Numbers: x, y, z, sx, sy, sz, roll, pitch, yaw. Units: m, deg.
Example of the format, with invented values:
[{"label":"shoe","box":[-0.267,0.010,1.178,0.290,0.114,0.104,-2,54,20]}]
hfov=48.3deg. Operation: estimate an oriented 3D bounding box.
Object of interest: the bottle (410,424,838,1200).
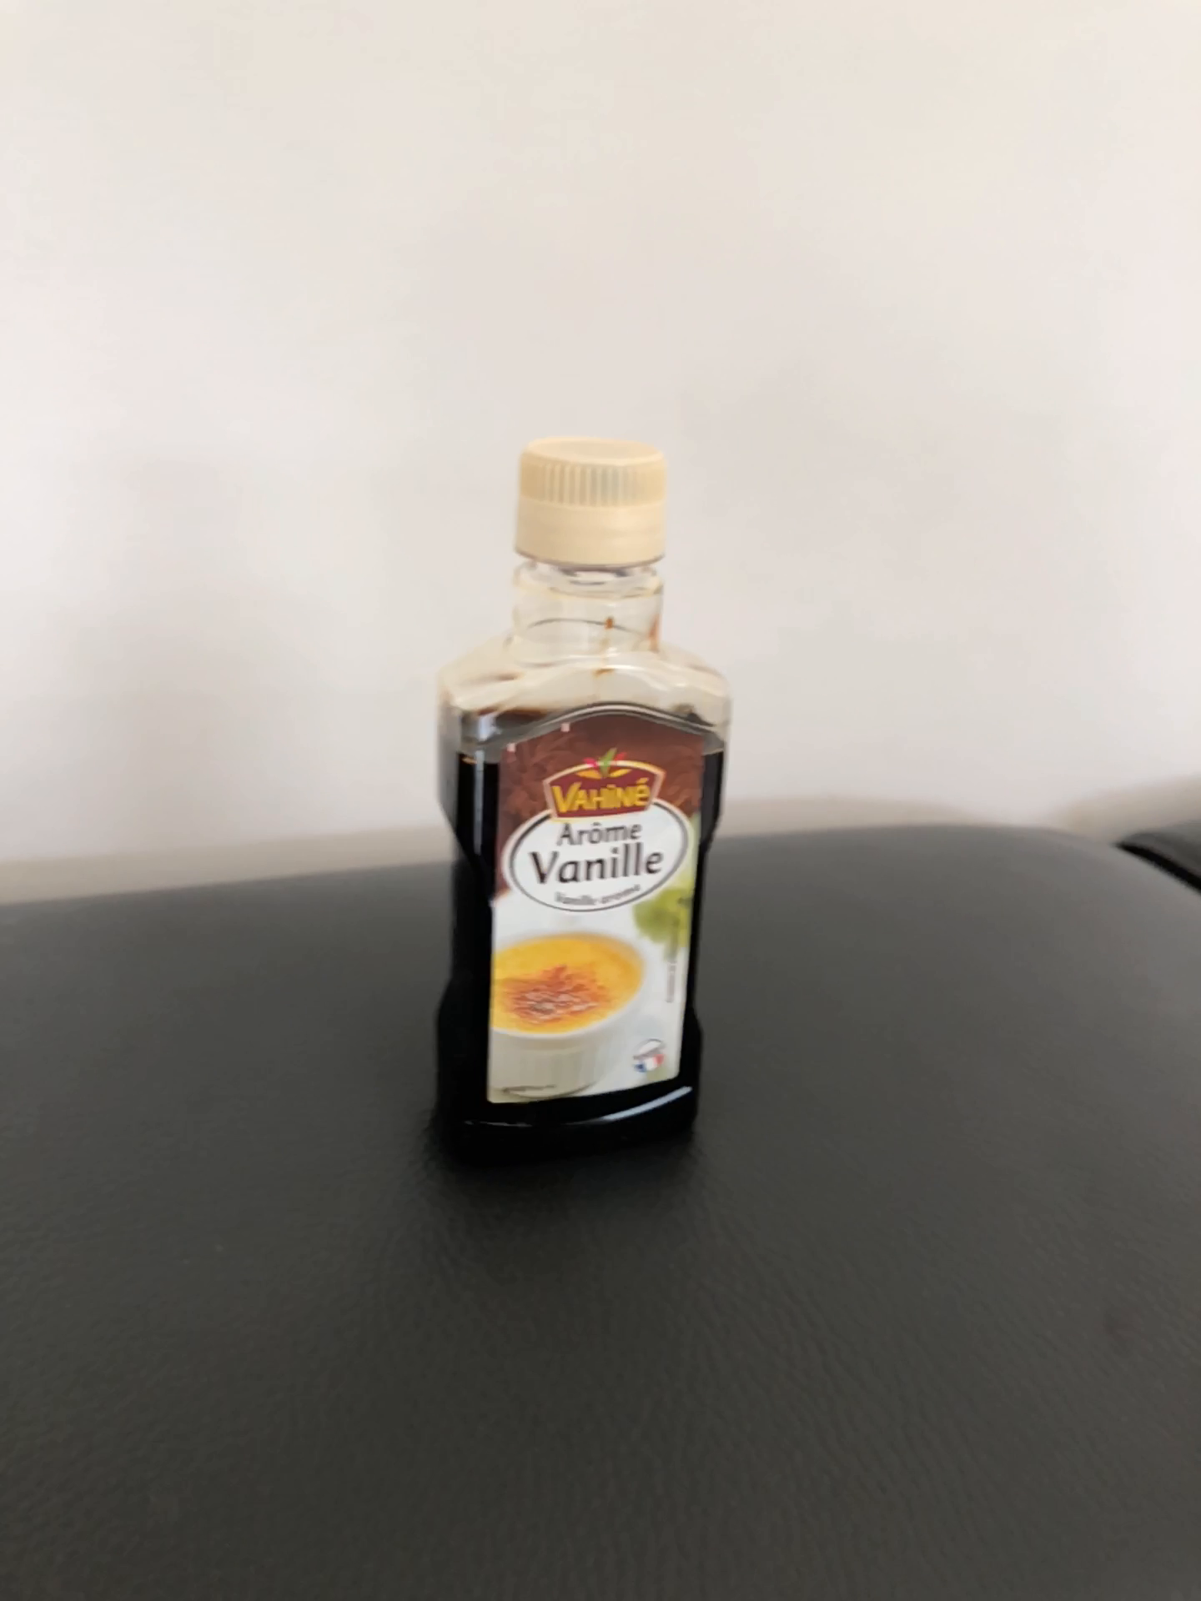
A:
[{"label":"bottle","box":[0.000,0.004,0.293,0.070,0.159,0.040,-3,23,-20]}]
